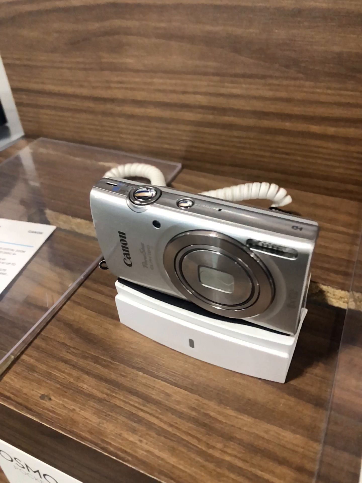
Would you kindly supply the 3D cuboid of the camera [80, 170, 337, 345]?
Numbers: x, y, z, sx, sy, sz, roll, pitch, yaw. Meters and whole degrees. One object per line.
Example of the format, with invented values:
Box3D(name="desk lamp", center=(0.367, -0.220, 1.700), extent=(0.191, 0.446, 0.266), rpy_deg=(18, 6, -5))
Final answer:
Box3D(name="camera", center=(0.008, 0.005, 0.174), extent=(0.100, 0.050, 0.020), rpy_deg=(15, 45, 21))
